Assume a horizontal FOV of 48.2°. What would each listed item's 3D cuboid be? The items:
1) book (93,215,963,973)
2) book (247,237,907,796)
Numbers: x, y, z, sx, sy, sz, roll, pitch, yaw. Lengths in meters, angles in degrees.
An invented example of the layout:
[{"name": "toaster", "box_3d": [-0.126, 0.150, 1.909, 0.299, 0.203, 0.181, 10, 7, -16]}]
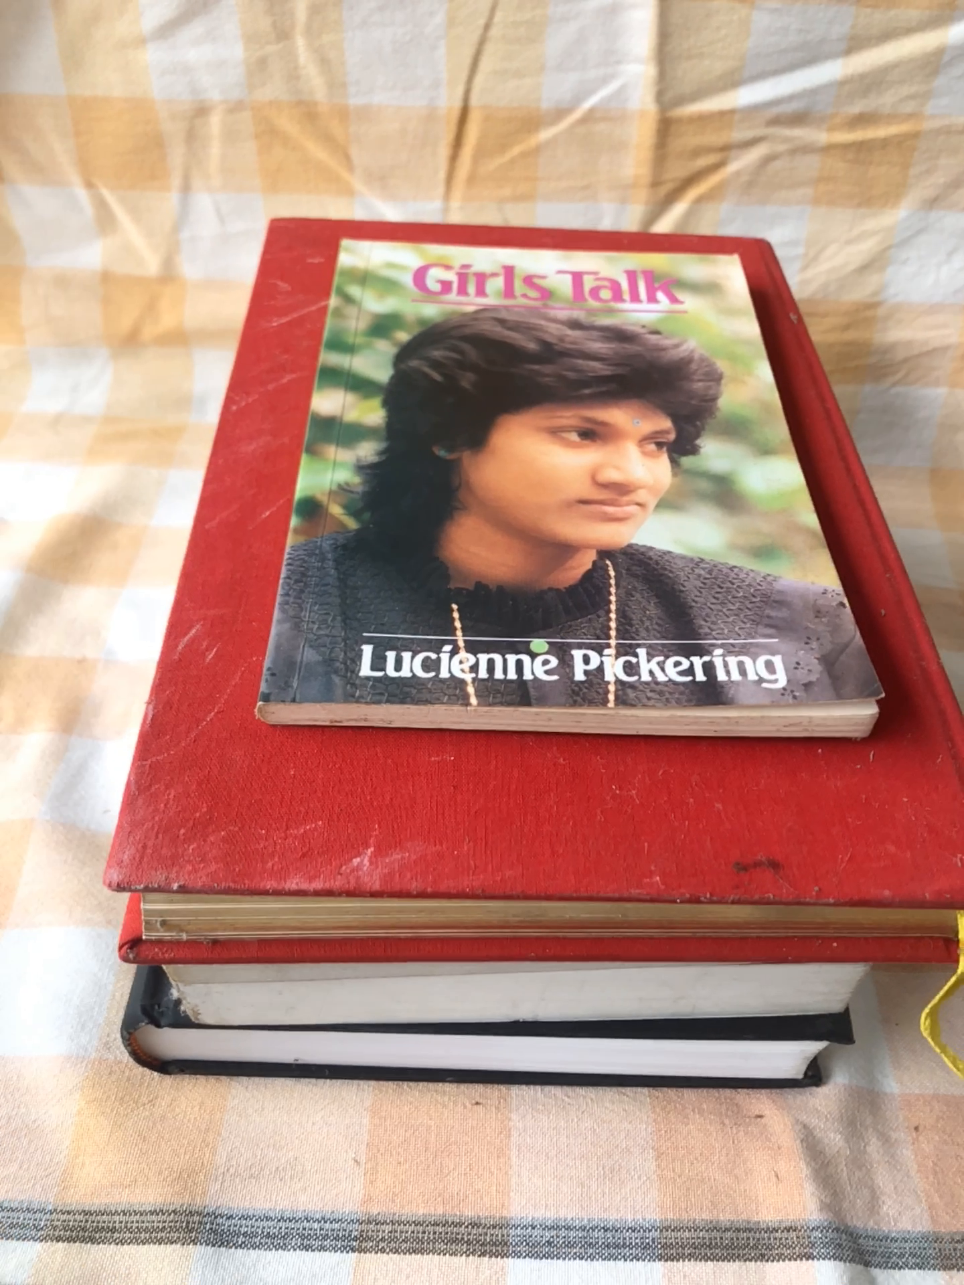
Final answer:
[{"name": "book", "box_3d": [0.016, -0.038, 0.286, 0.174, 0.031, 0.250, 1, 47, -3]}, {"name": "book", "box_3d": [0.018, -0.045, 0.281, 0.130, 0.025, 0.183, 1, 49, -2]}]
